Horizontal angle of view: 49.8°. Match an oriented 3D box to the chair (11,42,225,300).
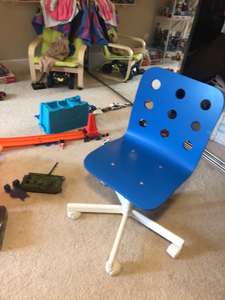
[{"bbox_3d":[0.097,0.092,1.039,0.620,0.814,0.675,33,44,27],"label":"chair"}]
